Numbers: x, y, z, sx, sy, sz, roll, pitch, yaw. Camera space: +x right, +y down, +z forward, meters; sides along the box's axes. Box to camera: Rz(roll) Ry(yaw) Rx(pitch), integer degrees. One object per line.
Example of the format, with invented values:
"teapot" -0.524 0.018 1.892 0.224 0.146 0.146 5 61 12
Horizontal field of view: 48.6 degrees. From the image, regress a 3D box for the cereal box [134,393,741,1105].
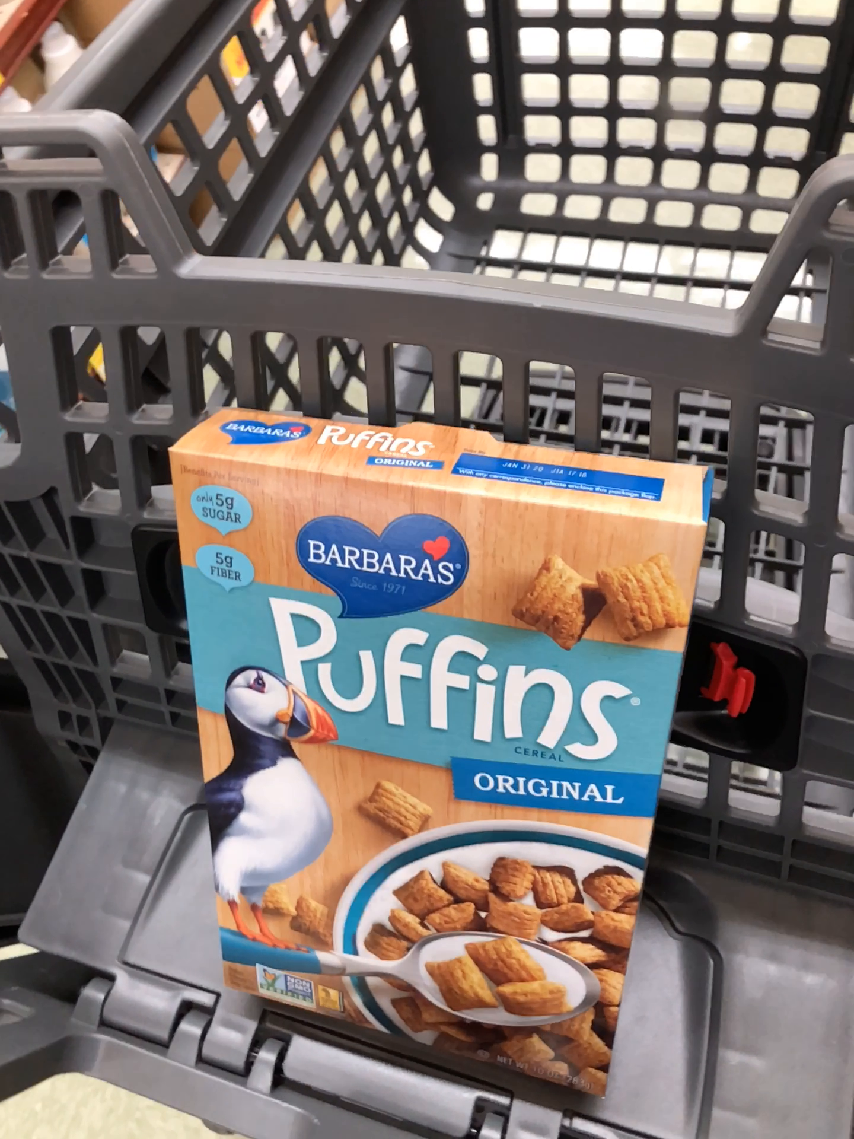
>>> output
"cereal box" -0.001 0.076 0.367 0.190 0.260 0.050 9 29 15
